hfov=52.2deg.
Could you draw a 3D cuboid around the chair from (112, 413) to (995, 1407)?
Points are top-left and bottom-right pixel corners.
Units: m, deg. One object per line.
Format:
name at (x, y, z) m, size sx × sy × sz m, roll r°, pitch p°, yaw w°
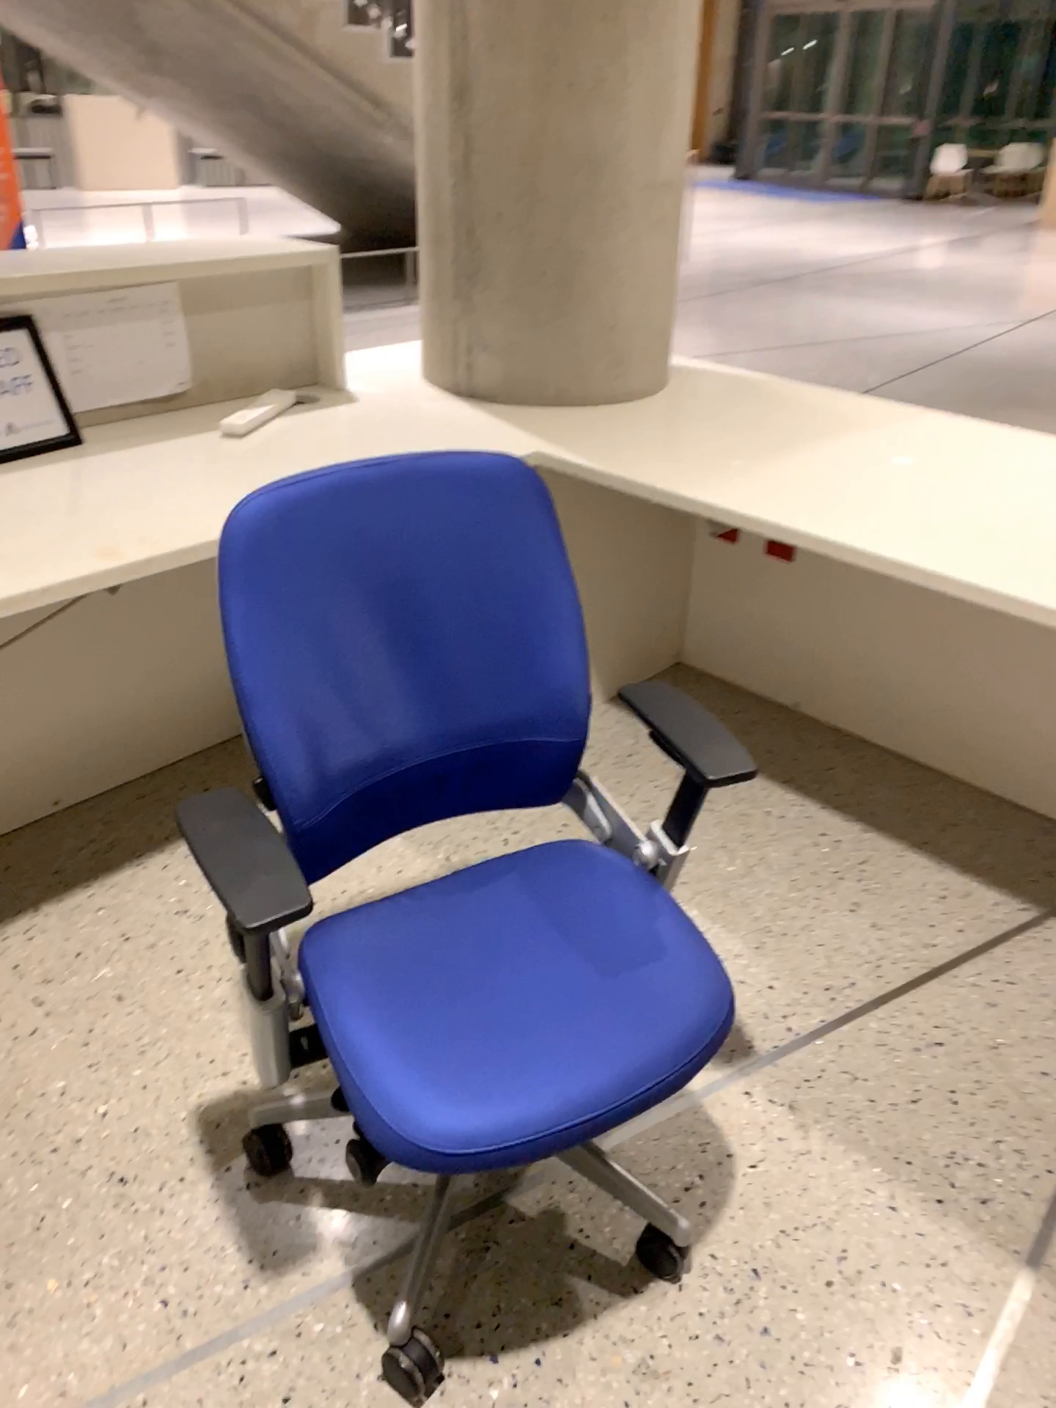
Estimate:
chair at (-0.016, 0.206, 1.326) m, size 0.699 × 0.907 × 0.608 m, roll -14°, pitch 33°, yaw -26°
